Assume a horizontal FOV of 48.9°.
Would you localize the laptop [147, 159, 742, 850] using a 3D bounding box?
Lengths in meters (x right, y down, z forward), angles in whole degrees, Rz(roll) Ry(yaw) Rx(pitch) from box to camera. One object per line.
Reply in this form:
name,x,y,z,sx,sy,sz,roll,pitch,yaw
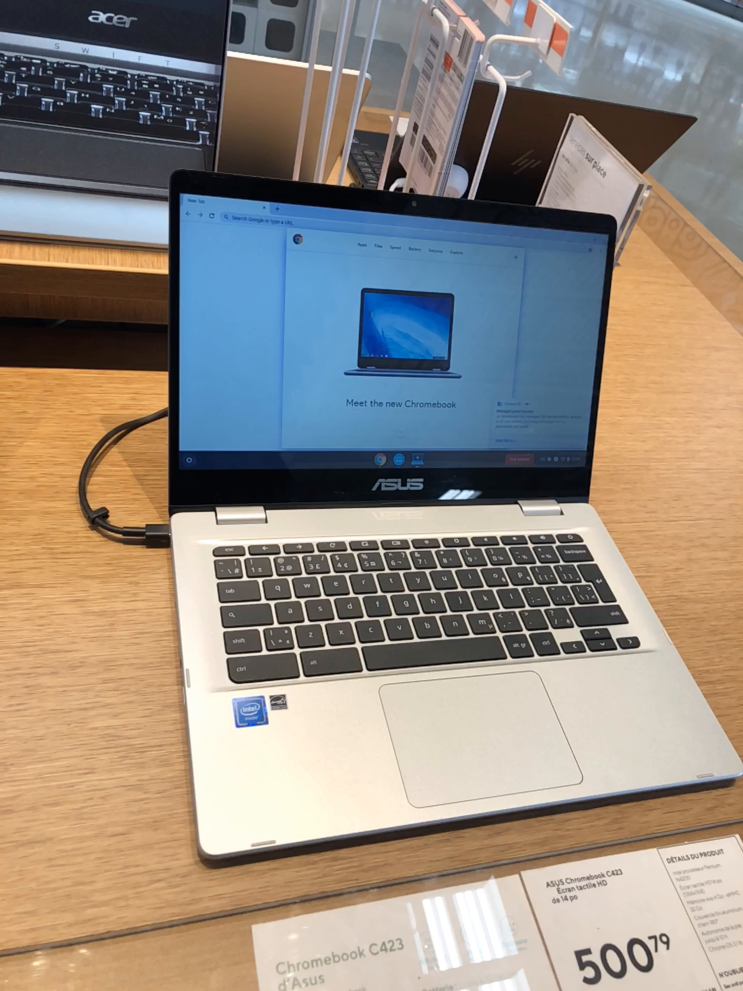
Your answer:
laptop,0.037,-0.018,0.477,0.281,0.186,0.336,-2,44,-22
